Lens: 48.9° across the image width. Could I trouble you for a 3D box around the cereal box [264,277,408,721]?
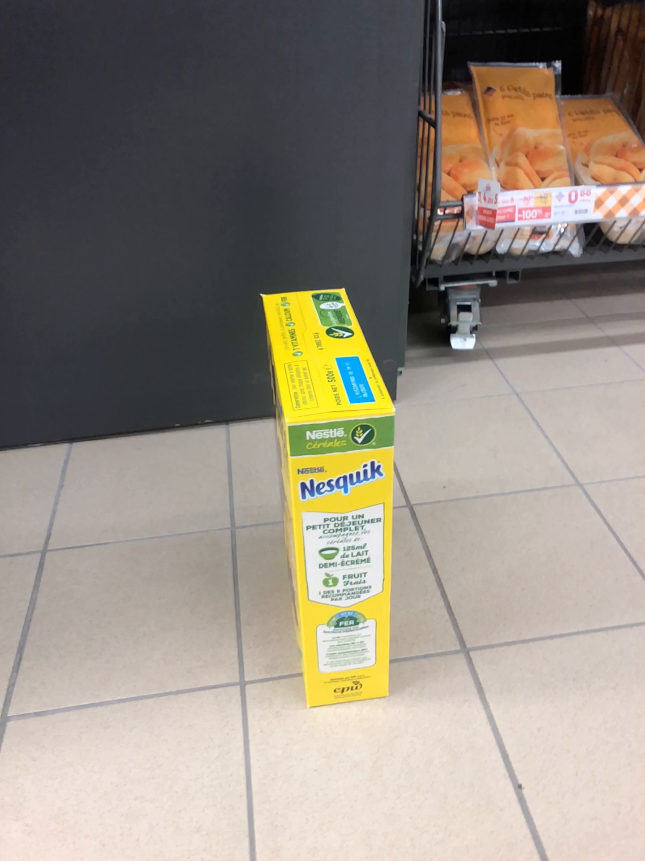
[{"bbox_3d":[0.005,0.056,0.584,0.070,0.298,0.201,-6,35,-6],"label":"cereal box"}]
